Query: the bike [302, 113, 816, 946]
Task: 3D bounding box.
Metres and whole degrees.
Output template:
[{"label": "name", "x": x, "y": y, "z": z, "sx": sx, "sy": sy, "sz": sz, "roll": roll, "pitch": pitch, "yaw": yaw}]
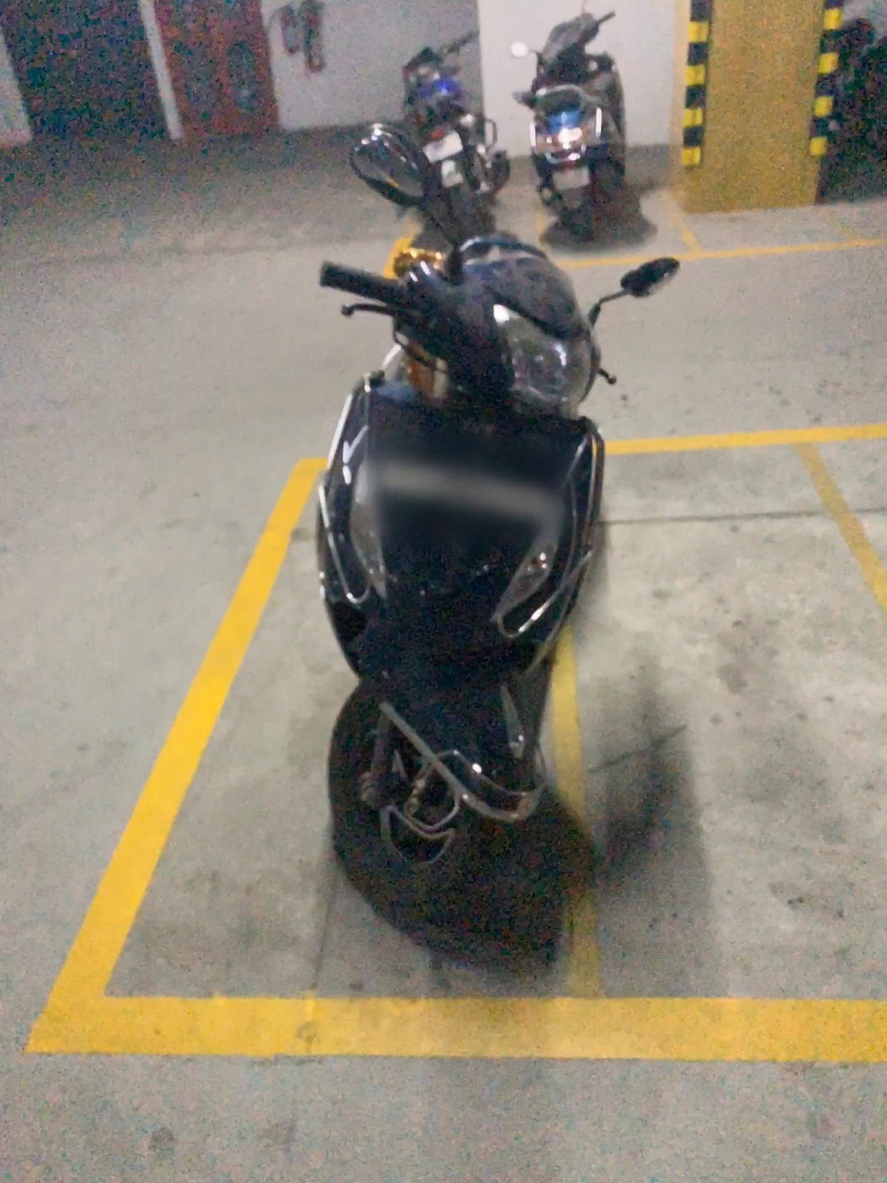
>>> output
[{"label": "bike", "x": 0.177, "y": -0.308, "z": 2.131, "sx": 0.664, "sy": 1.028, "sz": 1.702, "roll": -4, "pitch": 38, "yaw": 2}]
